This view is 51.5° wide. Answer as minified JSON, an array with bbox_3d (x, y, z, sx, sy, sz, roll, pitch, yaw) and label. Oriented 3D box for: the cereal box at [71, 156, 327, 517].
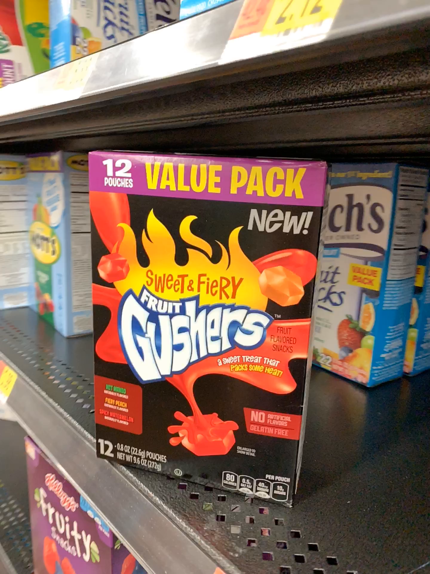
[{"bbox_3d":[-0.013,0.028,0.303,0.150,0.219,0.050,7,16,17],"label":"cereal box"}]
